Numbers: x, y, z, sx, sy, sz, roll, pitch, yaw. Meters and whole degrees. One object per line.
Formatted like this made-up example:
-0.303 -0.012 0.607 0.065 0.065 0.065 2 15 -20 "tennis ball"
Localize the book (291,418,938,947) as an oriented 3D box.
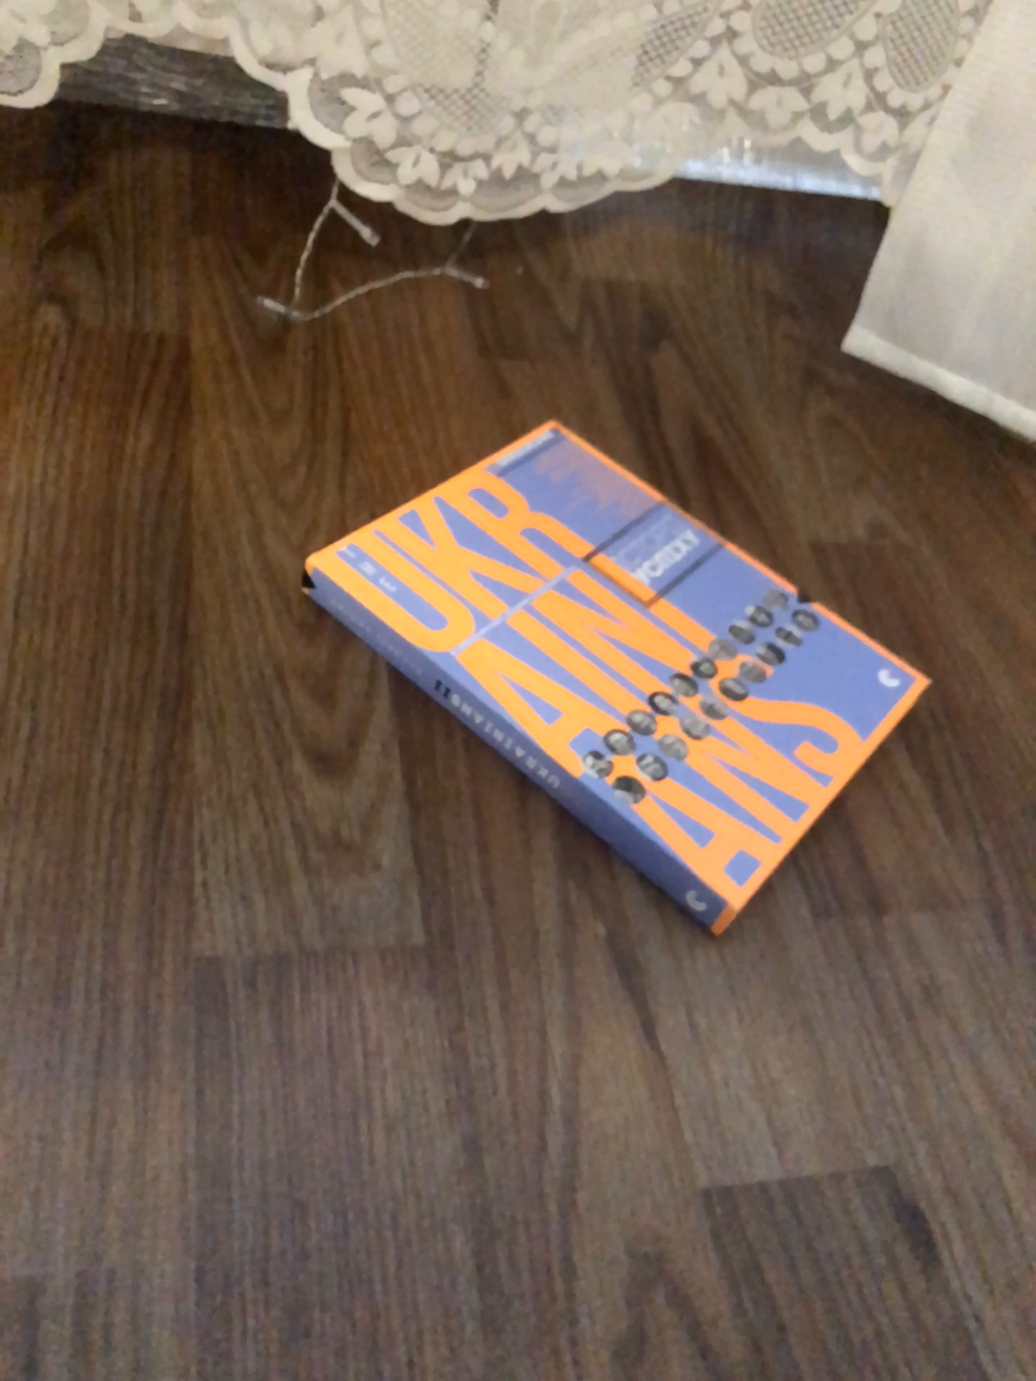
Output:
0.044 -0.021 0.471 0.215 0.020 0.165 38 48 16 "book"
